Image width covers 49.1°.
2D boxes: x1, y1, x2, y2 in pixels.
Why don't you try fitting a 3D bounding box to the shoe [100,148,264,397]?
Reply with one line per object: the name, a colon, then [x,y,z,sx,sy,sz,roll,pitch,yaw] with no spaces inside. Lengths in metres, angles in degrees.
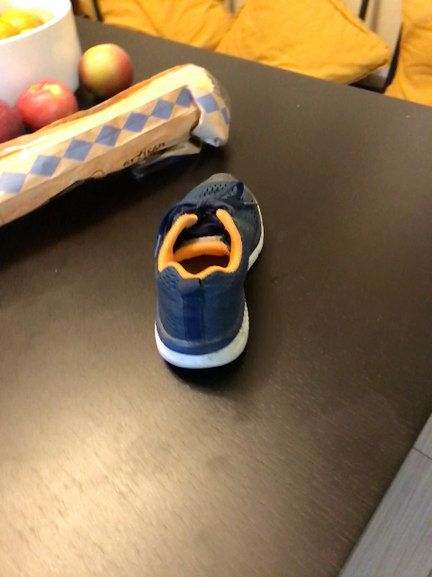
shoe: [-0.011,-0.023,0.351,0.084,0.072,0.187,2,46,7]
